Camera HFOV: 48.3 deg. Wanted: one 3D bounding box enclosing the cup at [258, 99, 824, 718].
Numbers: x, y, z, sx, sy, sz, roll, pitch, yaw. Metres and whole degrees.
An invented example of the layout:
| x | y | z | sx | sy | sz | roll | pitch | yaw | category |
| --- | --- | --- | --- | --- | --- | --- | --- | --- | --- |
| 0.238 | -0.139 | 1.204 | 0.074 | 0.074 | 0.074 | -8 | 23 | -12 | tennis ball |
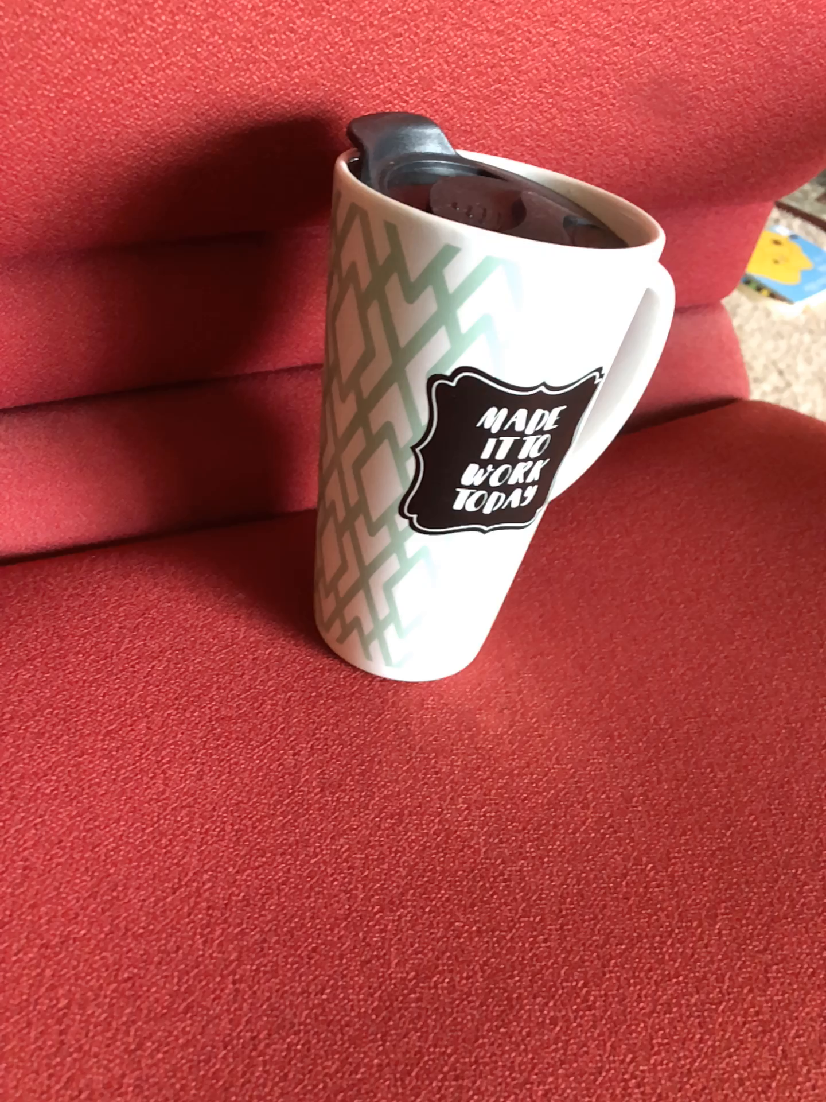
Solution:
| x | y | z | sx | sy | sz | roll | pitch | yaw | category |
| --- | --- | --- | --- | --- | --- | --- | --- | --- | --- |
| 0.025 | -0.044 | 0.292 | 0.120 | 0.160 | 0.080 | -11 | 44 | -25 | cup |
